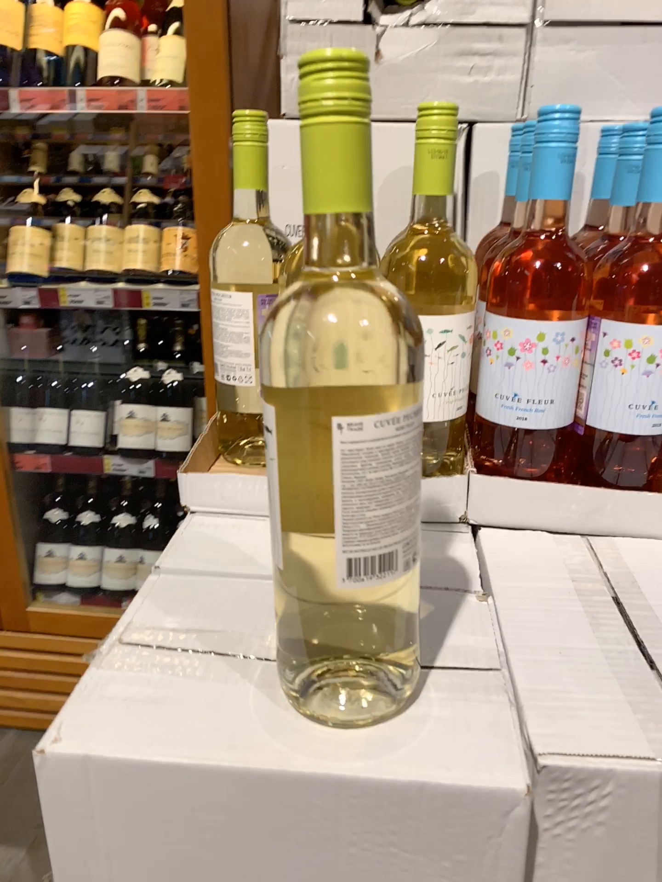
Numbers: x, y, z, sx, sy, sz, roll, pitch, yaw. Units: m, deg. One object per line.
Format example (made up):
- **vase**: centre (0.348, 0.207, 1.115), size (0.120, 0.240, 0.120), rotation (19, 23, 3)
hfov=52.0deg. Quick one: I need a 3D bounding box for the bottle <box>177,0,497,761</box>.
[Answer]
- **bottle**: centre (0.006, -0.018, 0.315), size (0.090, 0.299, 0.090), rotation (0, 20, 0)
